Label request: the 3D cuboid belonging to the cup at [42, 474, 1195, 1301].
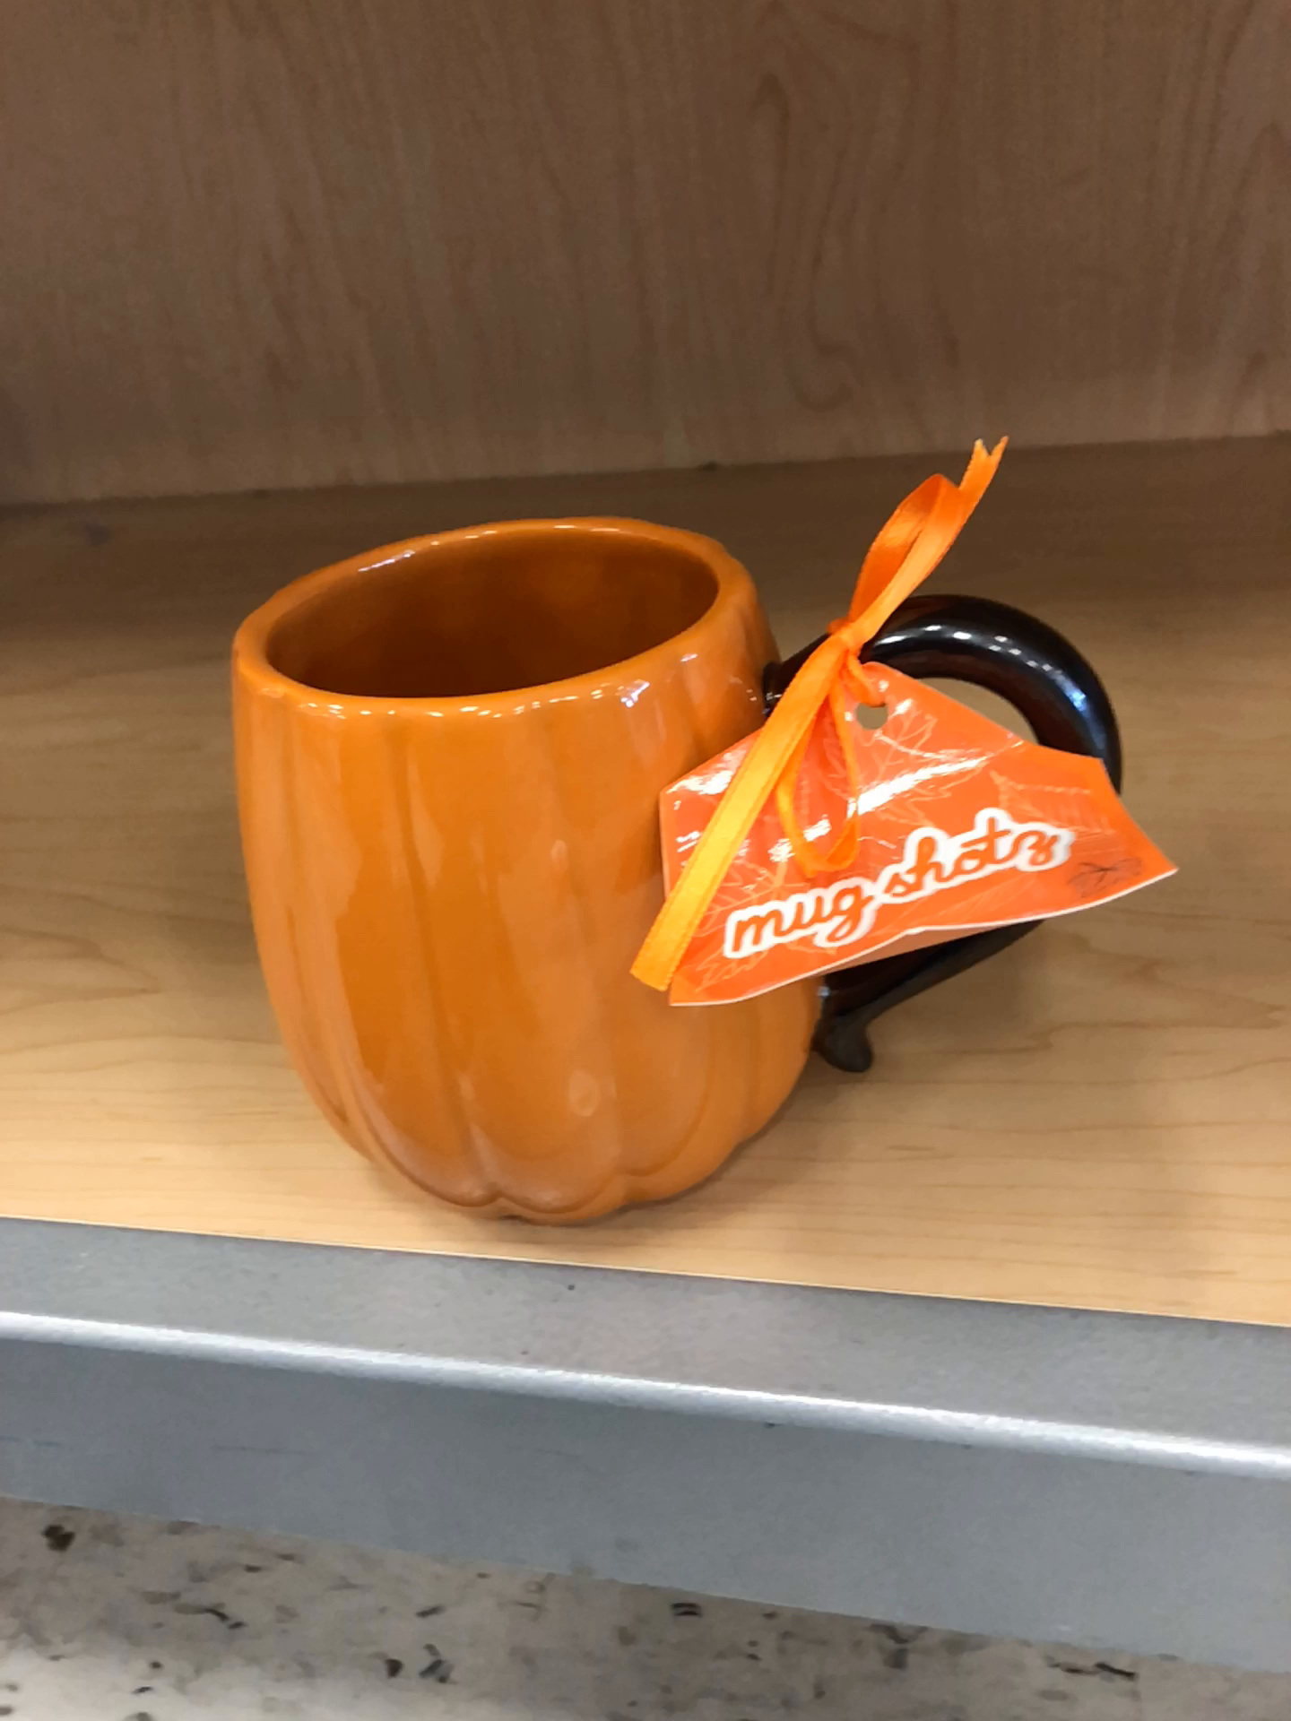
[{"bbox_3d":[0.004,0.001,0.225,0.140,0.089,0.081,0,32,14],"label":"cup"}]
